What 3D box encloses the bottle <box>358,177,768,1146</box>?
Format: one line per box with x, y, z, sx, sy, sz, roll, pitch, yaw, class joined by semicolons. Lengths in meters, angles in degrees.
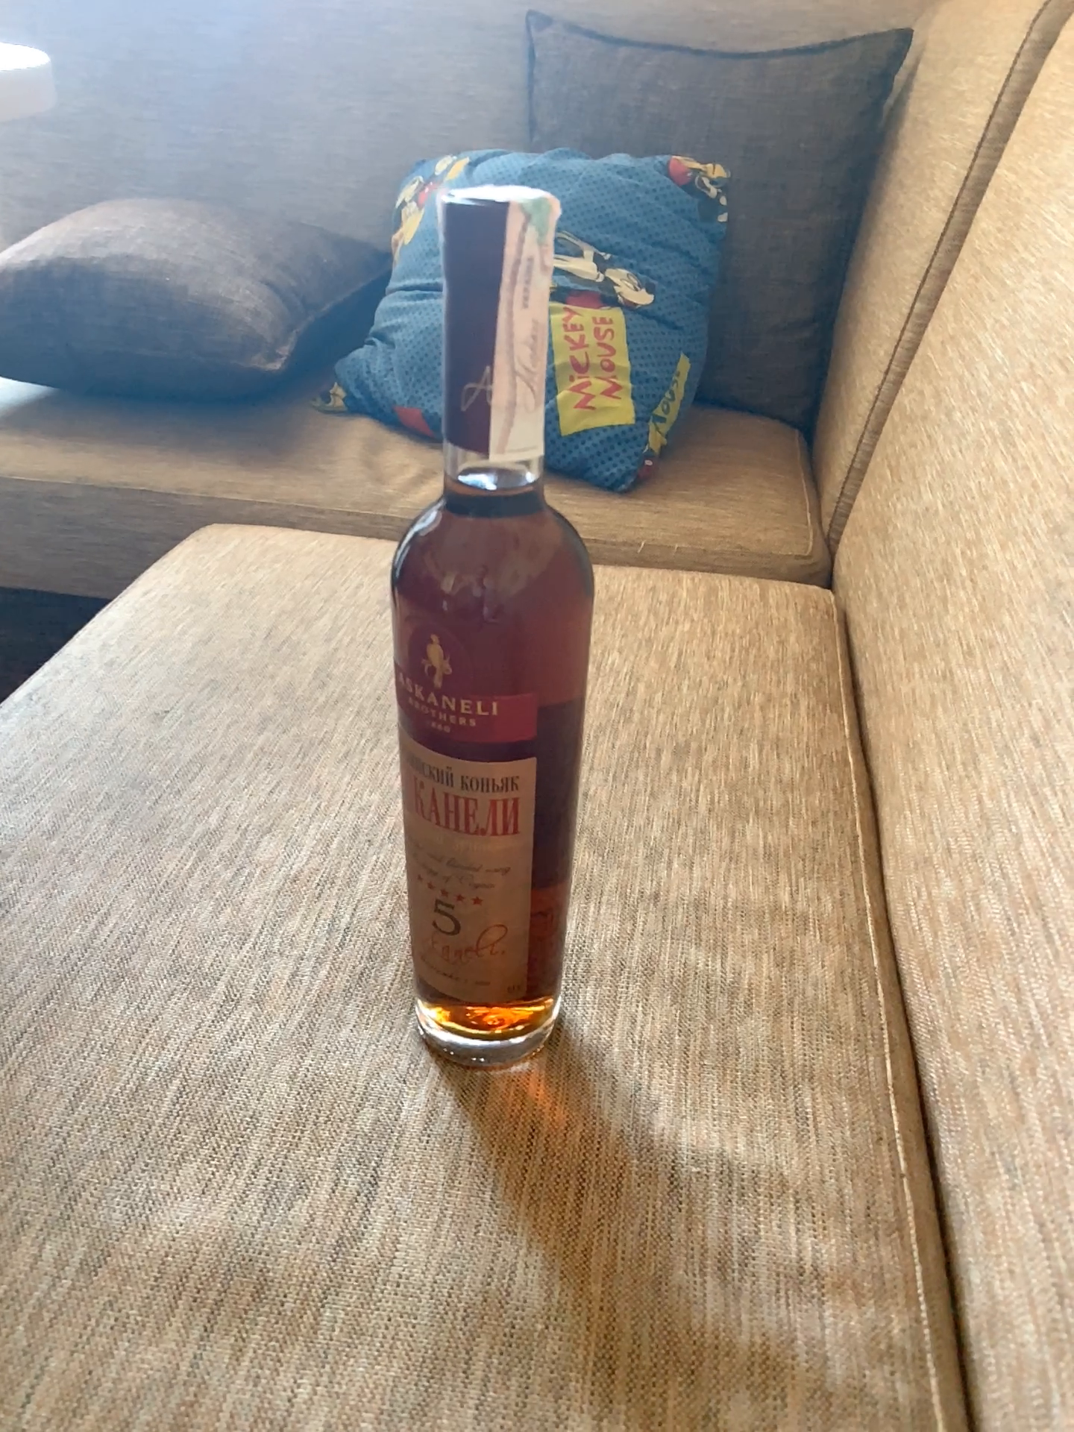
0.001;-0.002;0.332;0.070;0.279;0.070;3;32;-2;bottle
